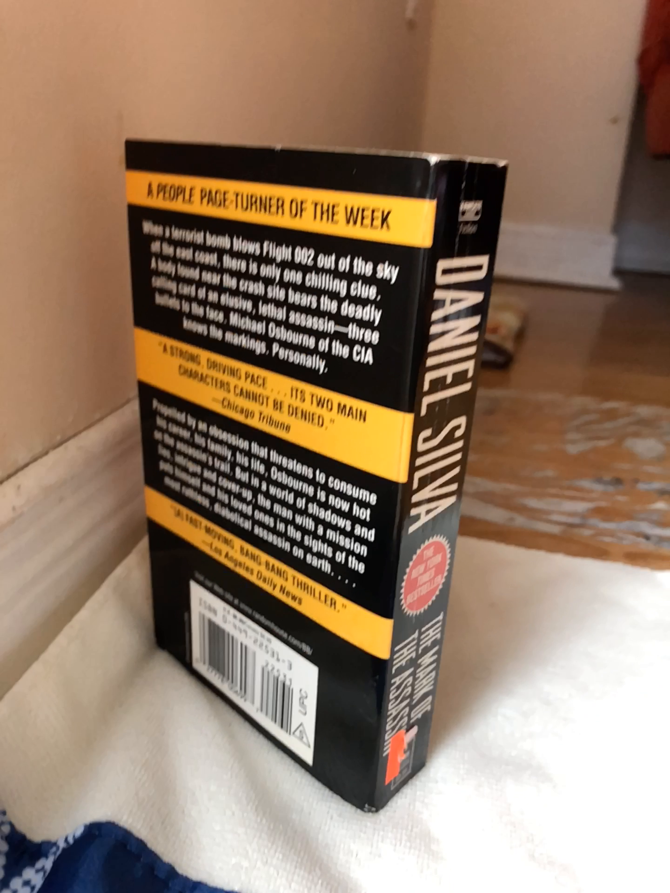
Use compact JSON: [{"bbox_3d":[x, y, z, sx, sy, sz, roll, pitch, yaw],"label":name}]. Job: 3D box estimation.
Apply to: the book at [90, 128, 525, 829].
[{"bbox_3d":[-0.018,0.000,0.224,0.045,0.169,0.119,-16,28,-40],"label":"book"}]
